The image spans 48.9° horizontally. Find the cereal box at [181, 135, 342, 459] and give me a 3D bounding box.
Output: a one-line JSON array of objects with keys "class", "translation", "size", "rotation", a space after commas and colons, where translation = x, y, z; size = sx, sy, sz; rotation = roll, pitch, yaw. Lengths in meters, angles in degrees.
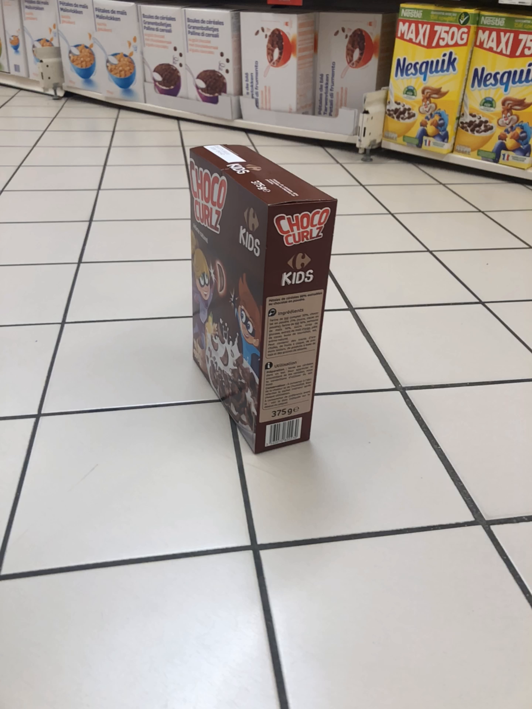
[{"class": "cereal box", "translation": [-0.017, -0.065, 0.591], "size": [0.070, 0.258, 0.201], "rotation": [-11, 34, -21]}]
